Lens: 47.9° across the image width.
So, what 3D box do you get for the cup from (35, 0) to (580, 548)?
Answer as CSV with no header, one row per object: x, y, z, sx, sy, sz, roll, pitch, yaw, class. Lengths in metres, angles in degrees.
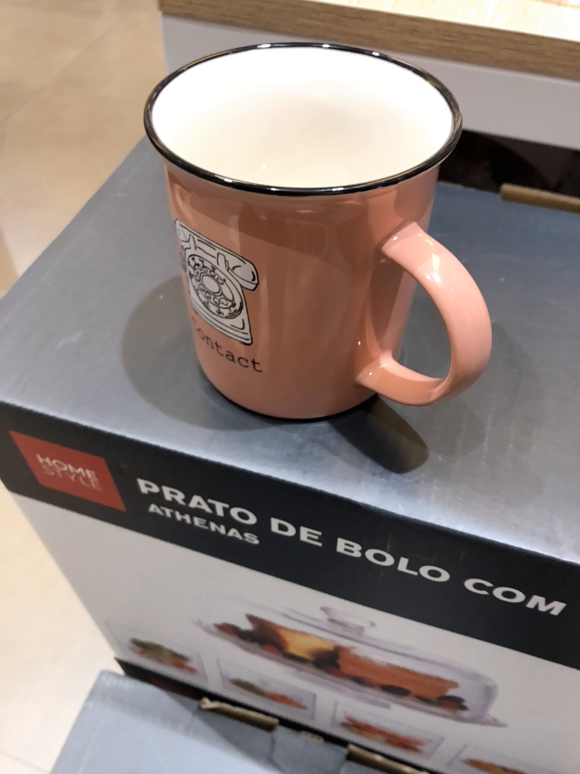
0.006,-0.036,0.186,0.110,0.089,0.080,36,60,26,cup
